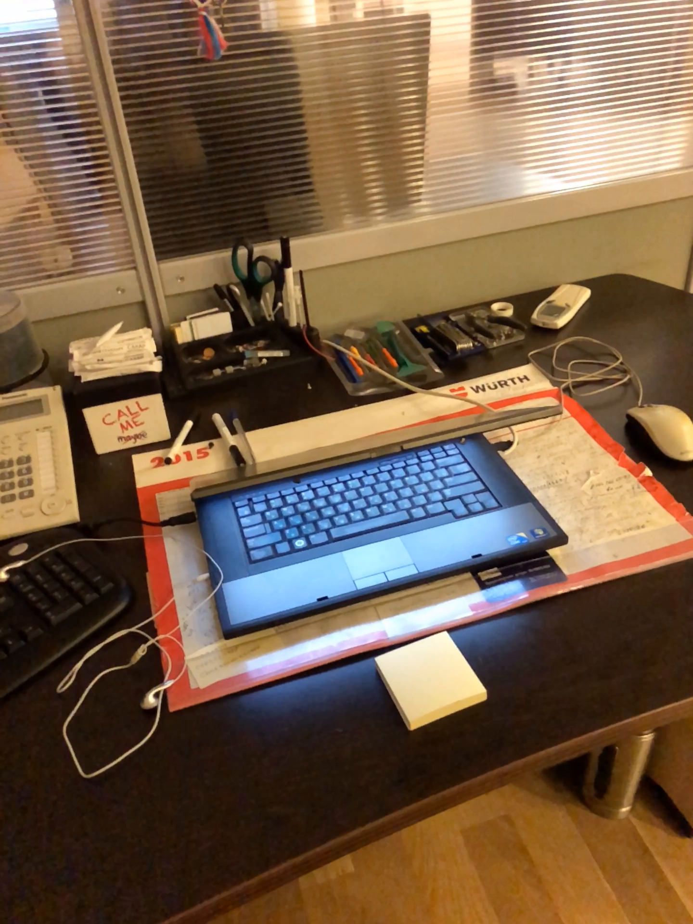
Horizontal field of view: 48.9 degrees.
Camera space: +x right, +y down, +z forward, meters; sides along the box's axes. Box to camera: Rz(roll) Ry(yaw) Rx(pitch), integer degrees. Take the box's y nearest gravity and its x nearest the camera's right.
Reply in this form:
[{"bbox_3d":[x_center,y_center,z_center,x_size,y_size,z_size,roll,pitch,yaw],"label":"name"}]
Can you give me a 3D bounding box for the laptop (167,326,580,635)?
[{"bbox_3d":[0.017,0.001,0.803,0.358,0.141,0.239,-13,36,-12],"label":"laptop"}]
